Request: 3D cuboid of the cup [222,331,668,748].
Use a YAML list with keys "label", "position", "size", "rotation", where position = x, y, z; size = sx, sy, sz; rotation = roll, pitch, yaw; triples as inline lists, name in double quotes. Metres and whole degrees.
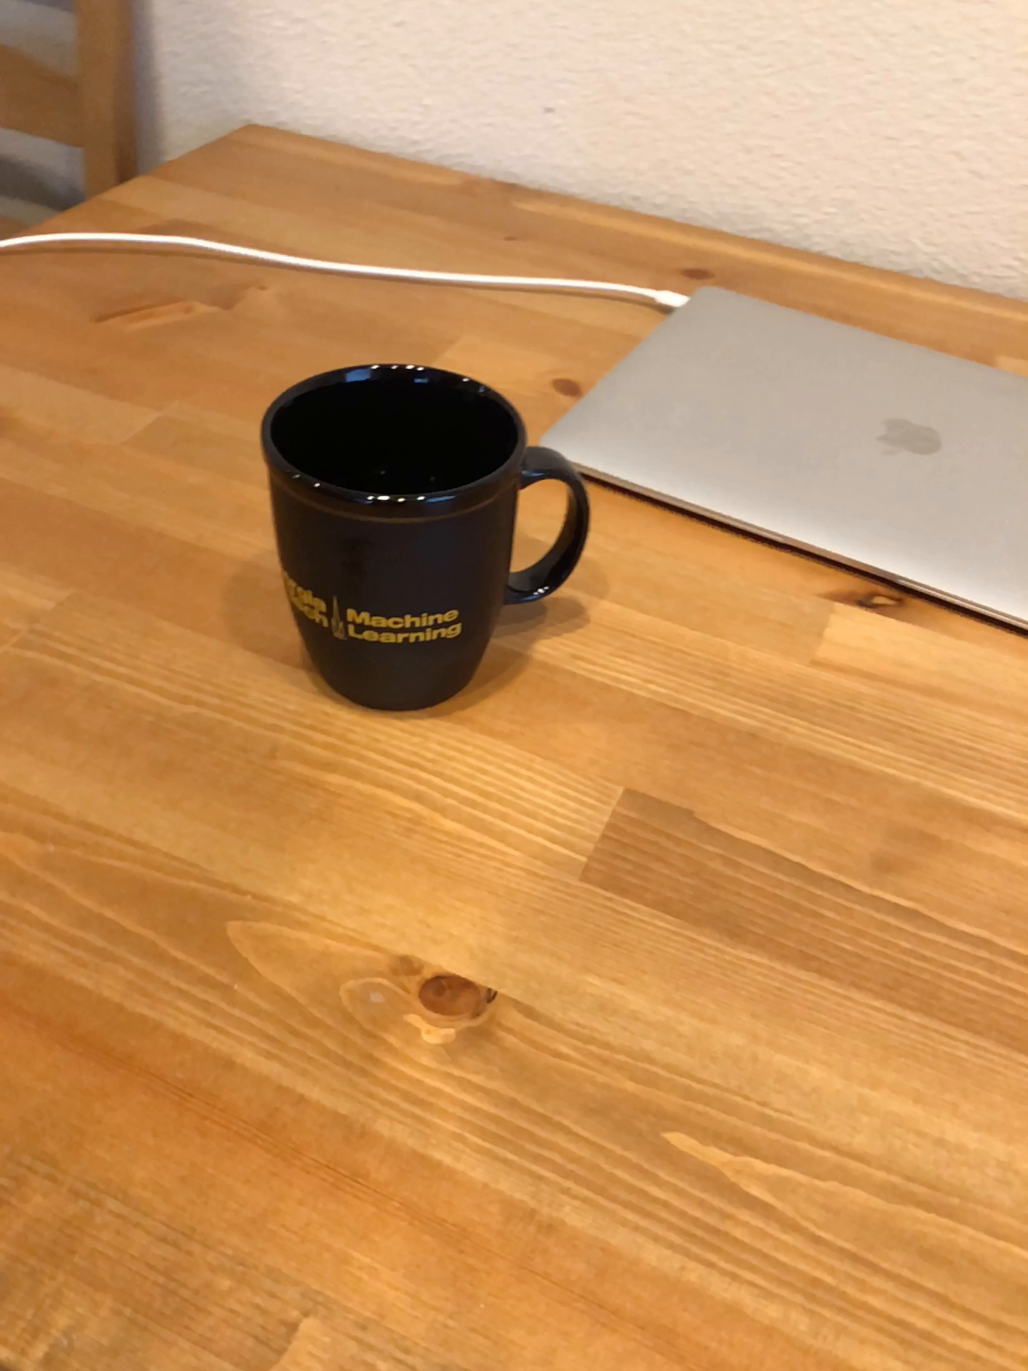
- label: "cup"
  position: [-0.027, -0.055, 0.403]
  size: [0.120, 0.090, 0.090]
  rotation: [-14, 46, -20]
